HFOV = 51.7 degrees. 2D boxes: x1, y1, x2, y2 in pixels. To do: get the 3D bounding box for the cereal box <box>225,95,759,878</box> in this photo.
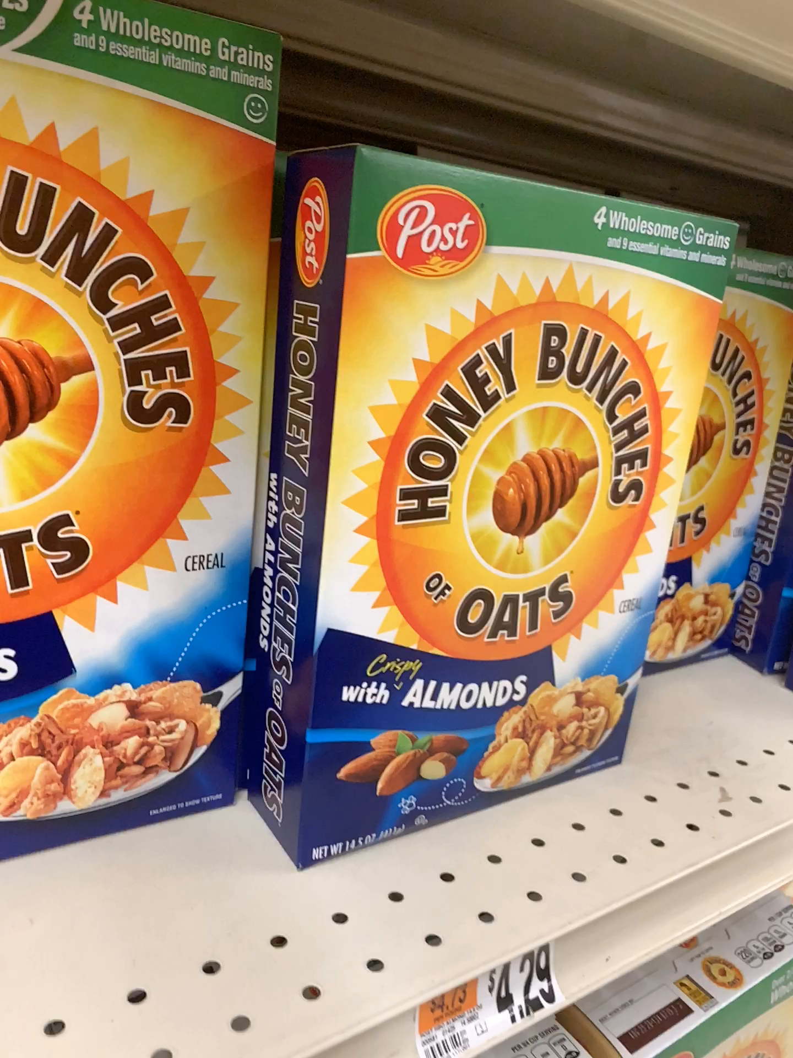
[{"bbox_3d":[0.039,-0.012,0.359,0.200,0.279,0.060,-5,20,-33],"label":"cereal box"}]
